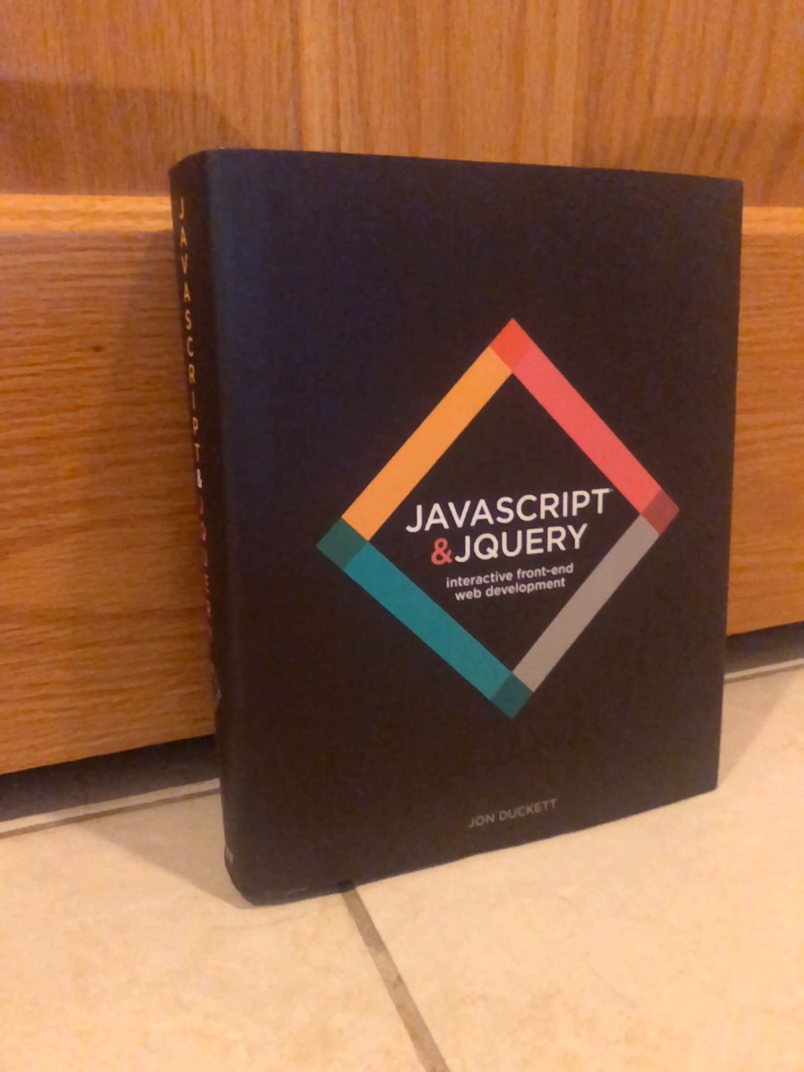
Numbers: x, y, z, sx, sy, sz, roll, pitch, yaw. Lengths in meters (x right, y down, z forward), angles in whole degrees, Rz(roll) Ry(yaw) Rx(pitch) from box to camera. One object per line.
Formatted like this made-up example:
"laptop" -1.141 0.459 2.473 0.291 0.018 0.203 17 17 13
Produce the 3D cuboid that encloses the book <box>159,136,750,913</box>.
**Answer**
"book" 0.026 -0.010 0.332 0.200 0.238 0.060 -6 10 -20
